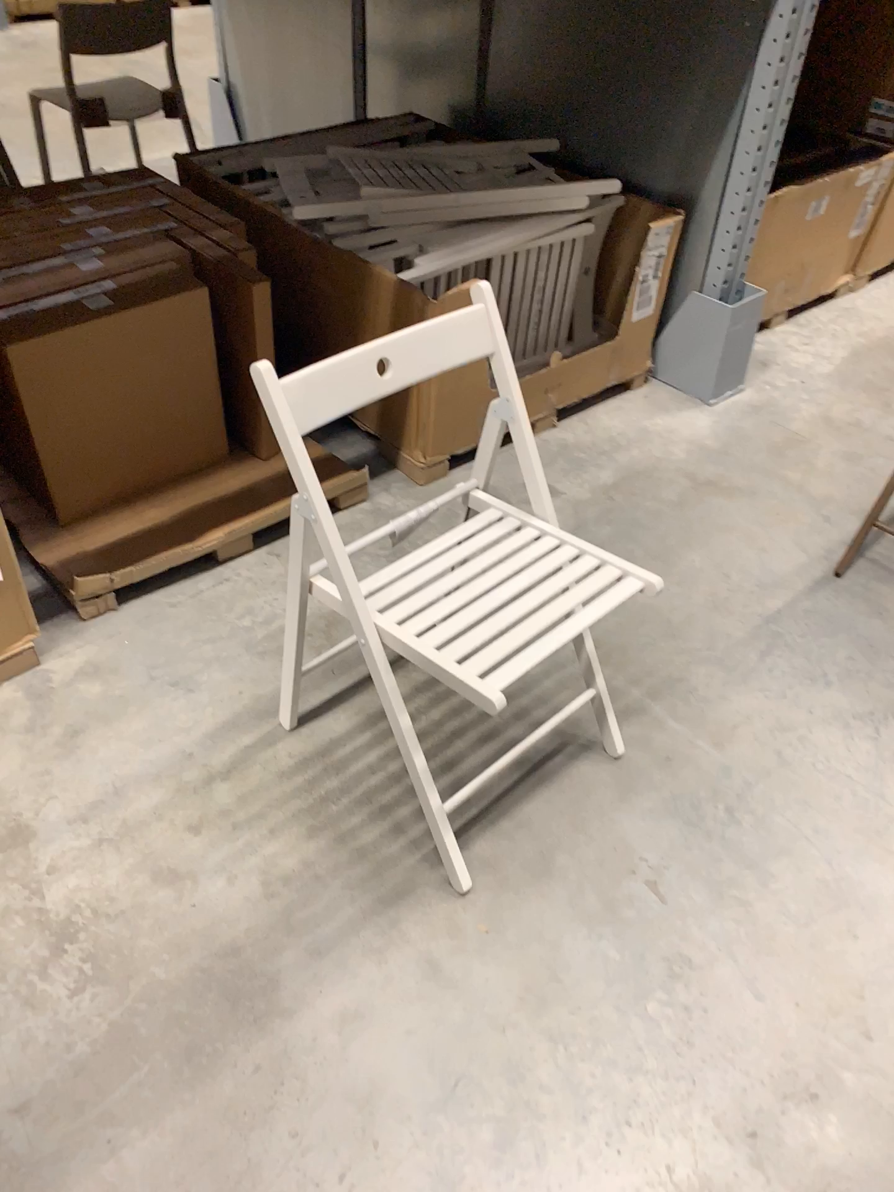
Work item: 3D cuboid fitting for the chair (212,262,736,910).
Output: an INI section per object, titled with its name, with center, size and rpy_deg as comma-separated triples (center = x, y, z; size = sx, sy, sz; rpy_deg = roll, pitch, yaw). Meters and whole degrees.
[chair]
center = 0.015, -0.016, 1.337
size = 0.431, 0.707, 0.471
rpy_deg = -31, 52, -32
